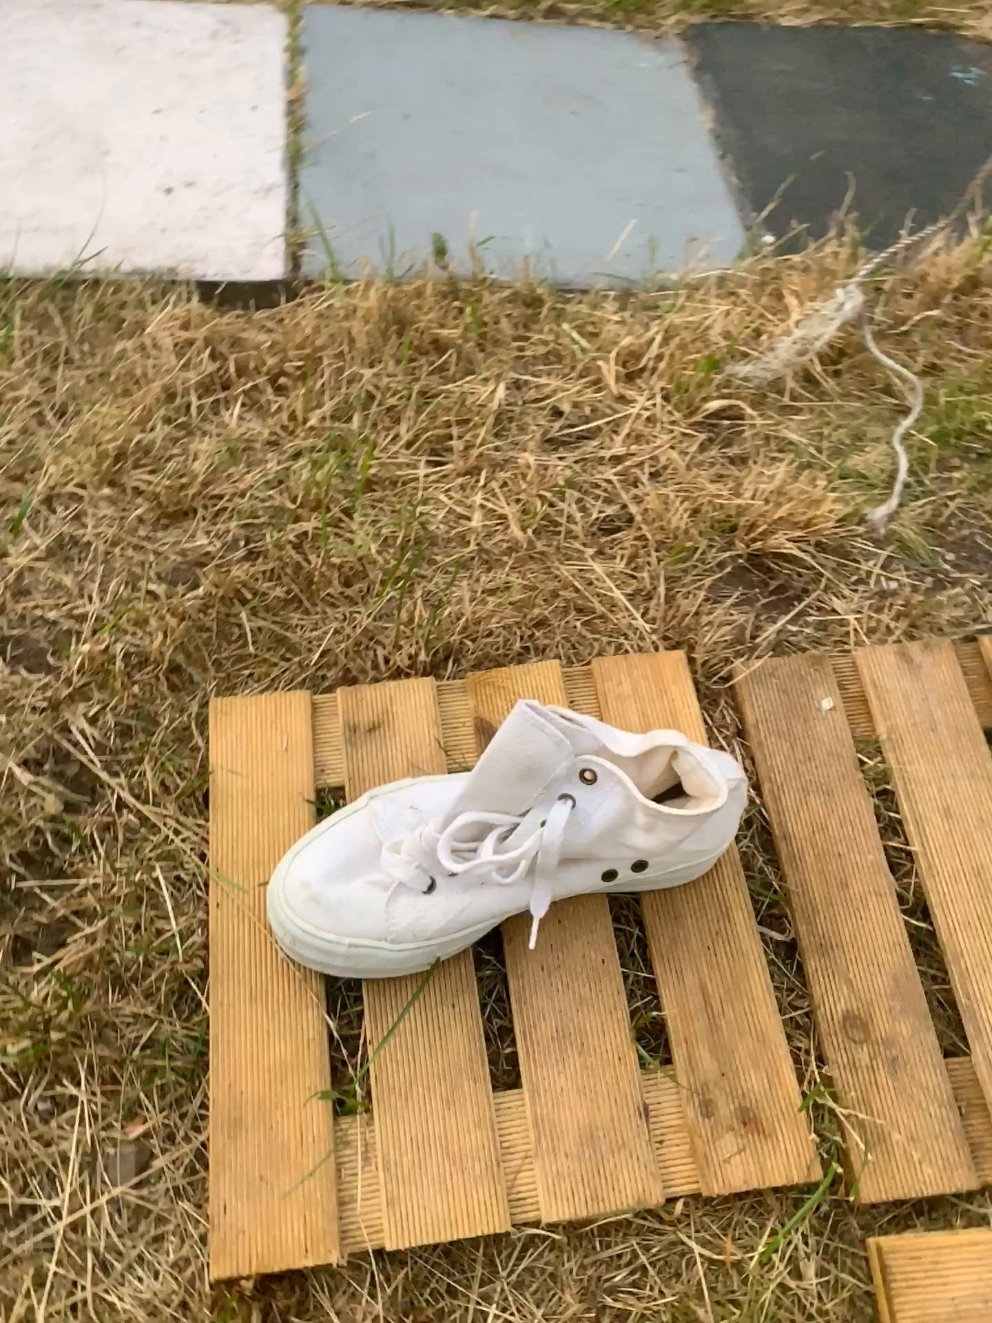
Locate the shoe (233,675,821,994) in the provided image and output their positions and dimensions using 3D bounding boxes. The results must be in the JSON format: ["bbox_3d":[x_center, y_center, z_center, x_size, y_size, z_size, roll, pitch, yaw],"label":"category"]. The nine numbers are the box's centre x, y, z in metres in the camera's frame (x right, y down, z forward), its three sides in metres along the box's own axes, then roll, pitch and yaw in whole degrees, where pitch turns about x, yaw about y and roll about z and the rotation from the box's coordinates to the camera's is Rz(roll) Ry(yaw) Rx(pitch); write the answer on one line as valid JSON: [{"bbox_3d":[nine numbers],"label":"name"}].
[{"bbox_3d":[0.008,0.088,0.515,0.260,0.109,0.101,-5,62,-11],"label":"shoe"}]
